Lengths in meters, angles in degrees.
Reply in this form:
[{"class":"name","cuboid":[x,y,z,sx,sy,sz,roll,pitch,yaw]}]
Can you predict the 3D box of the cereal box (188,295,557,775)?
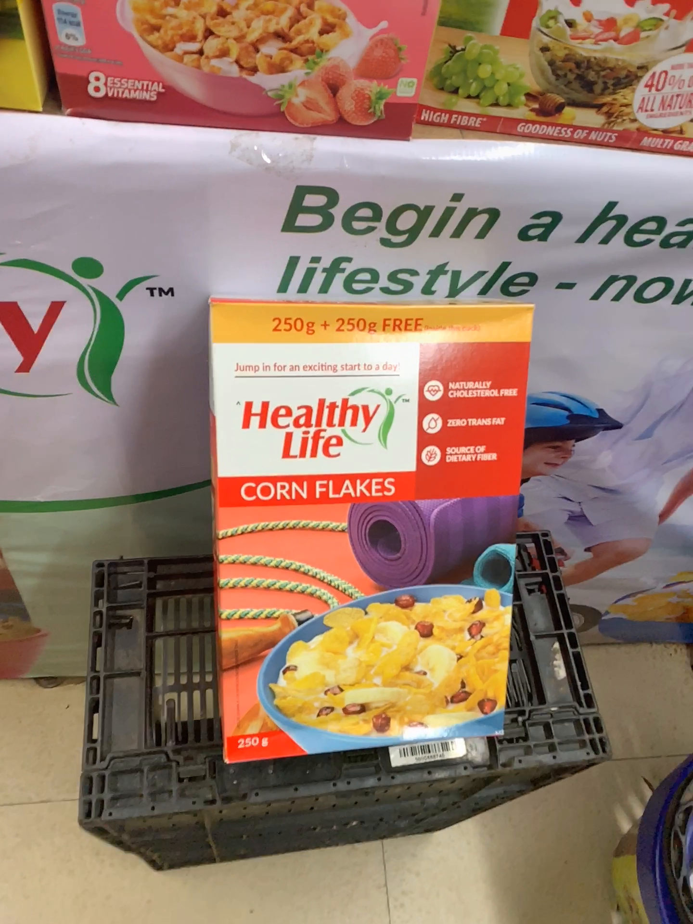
[{"class":"cereal box","cuboid":[0.008,0.039,0.453,0.200,0.280,0.090,-1,14,-10]}]
